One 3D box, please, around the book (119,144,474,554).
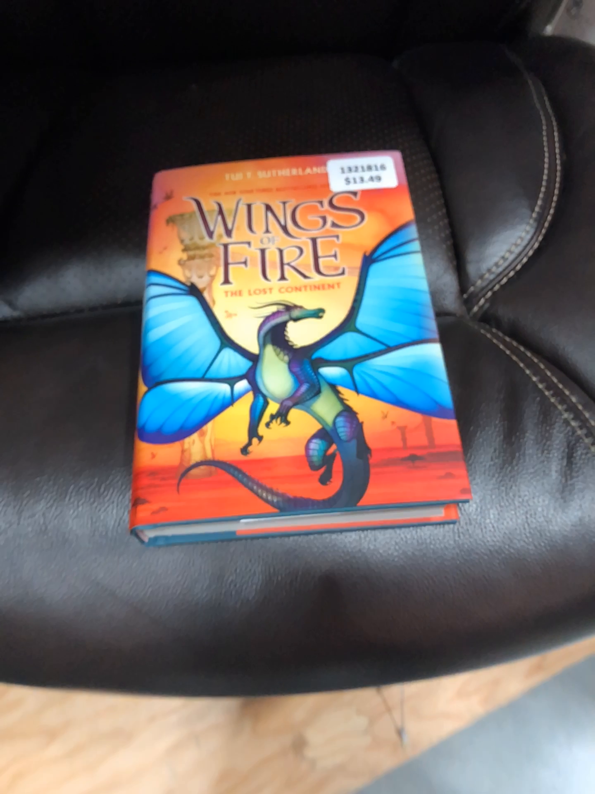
[{"bbox_3d":[-0.007,-0.037,0.344,0.148,0.030,0.218,-4,61,1],"label":"book"}]
